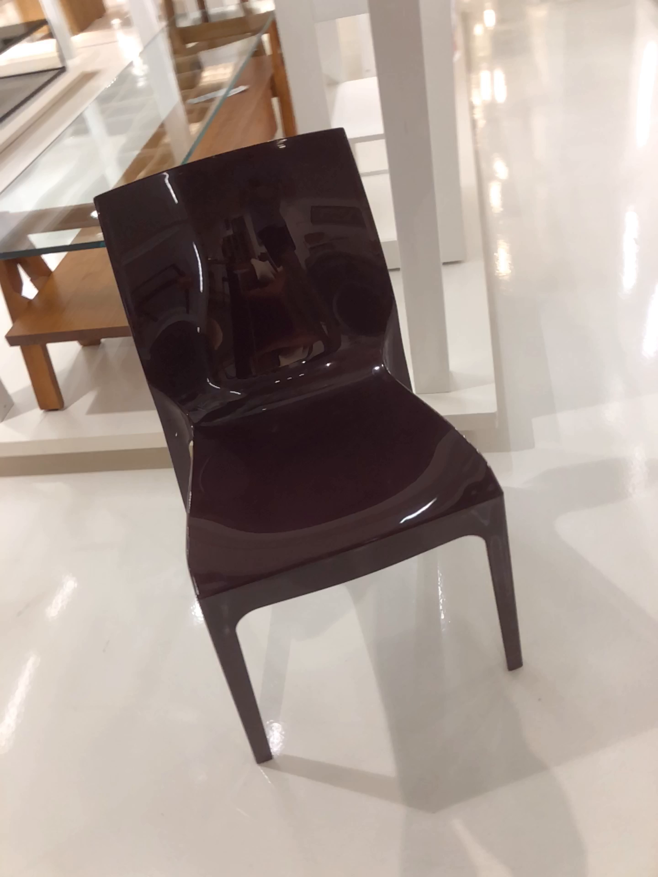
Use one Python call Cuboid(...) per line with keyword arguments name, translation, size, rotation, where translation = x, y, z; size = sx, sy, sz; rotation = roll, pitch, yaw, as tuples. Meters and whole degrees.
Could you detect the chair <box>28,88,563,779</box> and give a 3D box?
Cuboid(name="chair", translation=(-0.033, 0.004, 1.156), size=(0.530, 0.814, 0.564), rotation=(-18, 41, -6))
